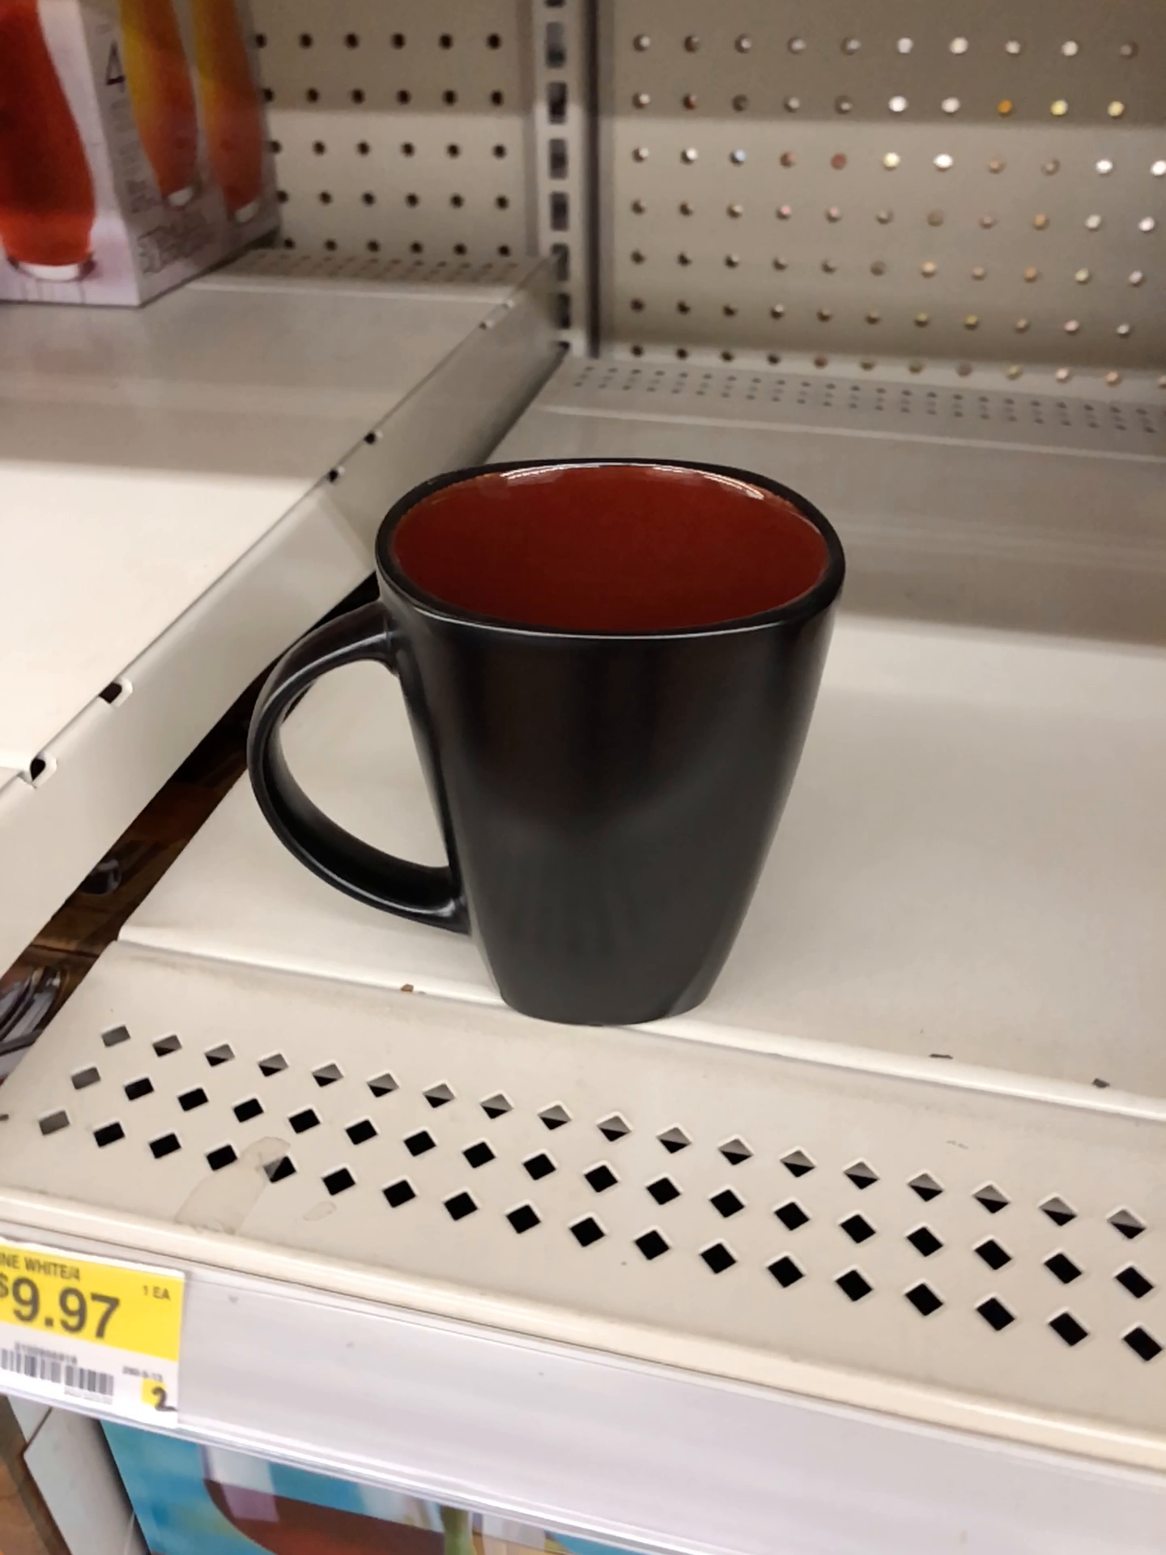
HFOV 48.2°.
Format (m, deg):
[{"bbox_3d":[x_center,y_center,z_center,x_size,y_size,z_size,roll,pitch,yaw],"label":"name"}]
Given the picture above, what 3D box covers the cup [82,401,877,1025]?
[{"bbox_3d":[-0.016,-0.016,0.278,0.130,0.100,0.090,0,34,1],"label":"cup"}]
